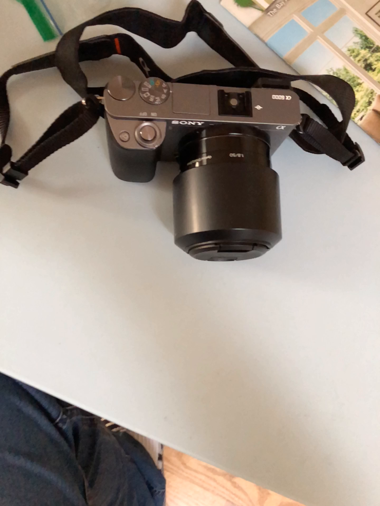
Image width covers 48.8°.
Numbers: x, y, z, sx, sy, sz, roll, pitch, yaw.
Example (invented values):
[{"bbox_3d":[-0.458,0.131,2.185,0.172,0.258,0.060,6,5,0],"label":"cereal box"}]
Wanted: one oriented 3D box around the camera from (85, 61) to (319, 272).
[{"bbox_3d":[0.004,-0.048,0.274,0.130,0.070,0.110,1,79,-8],"label":"camera"}]
